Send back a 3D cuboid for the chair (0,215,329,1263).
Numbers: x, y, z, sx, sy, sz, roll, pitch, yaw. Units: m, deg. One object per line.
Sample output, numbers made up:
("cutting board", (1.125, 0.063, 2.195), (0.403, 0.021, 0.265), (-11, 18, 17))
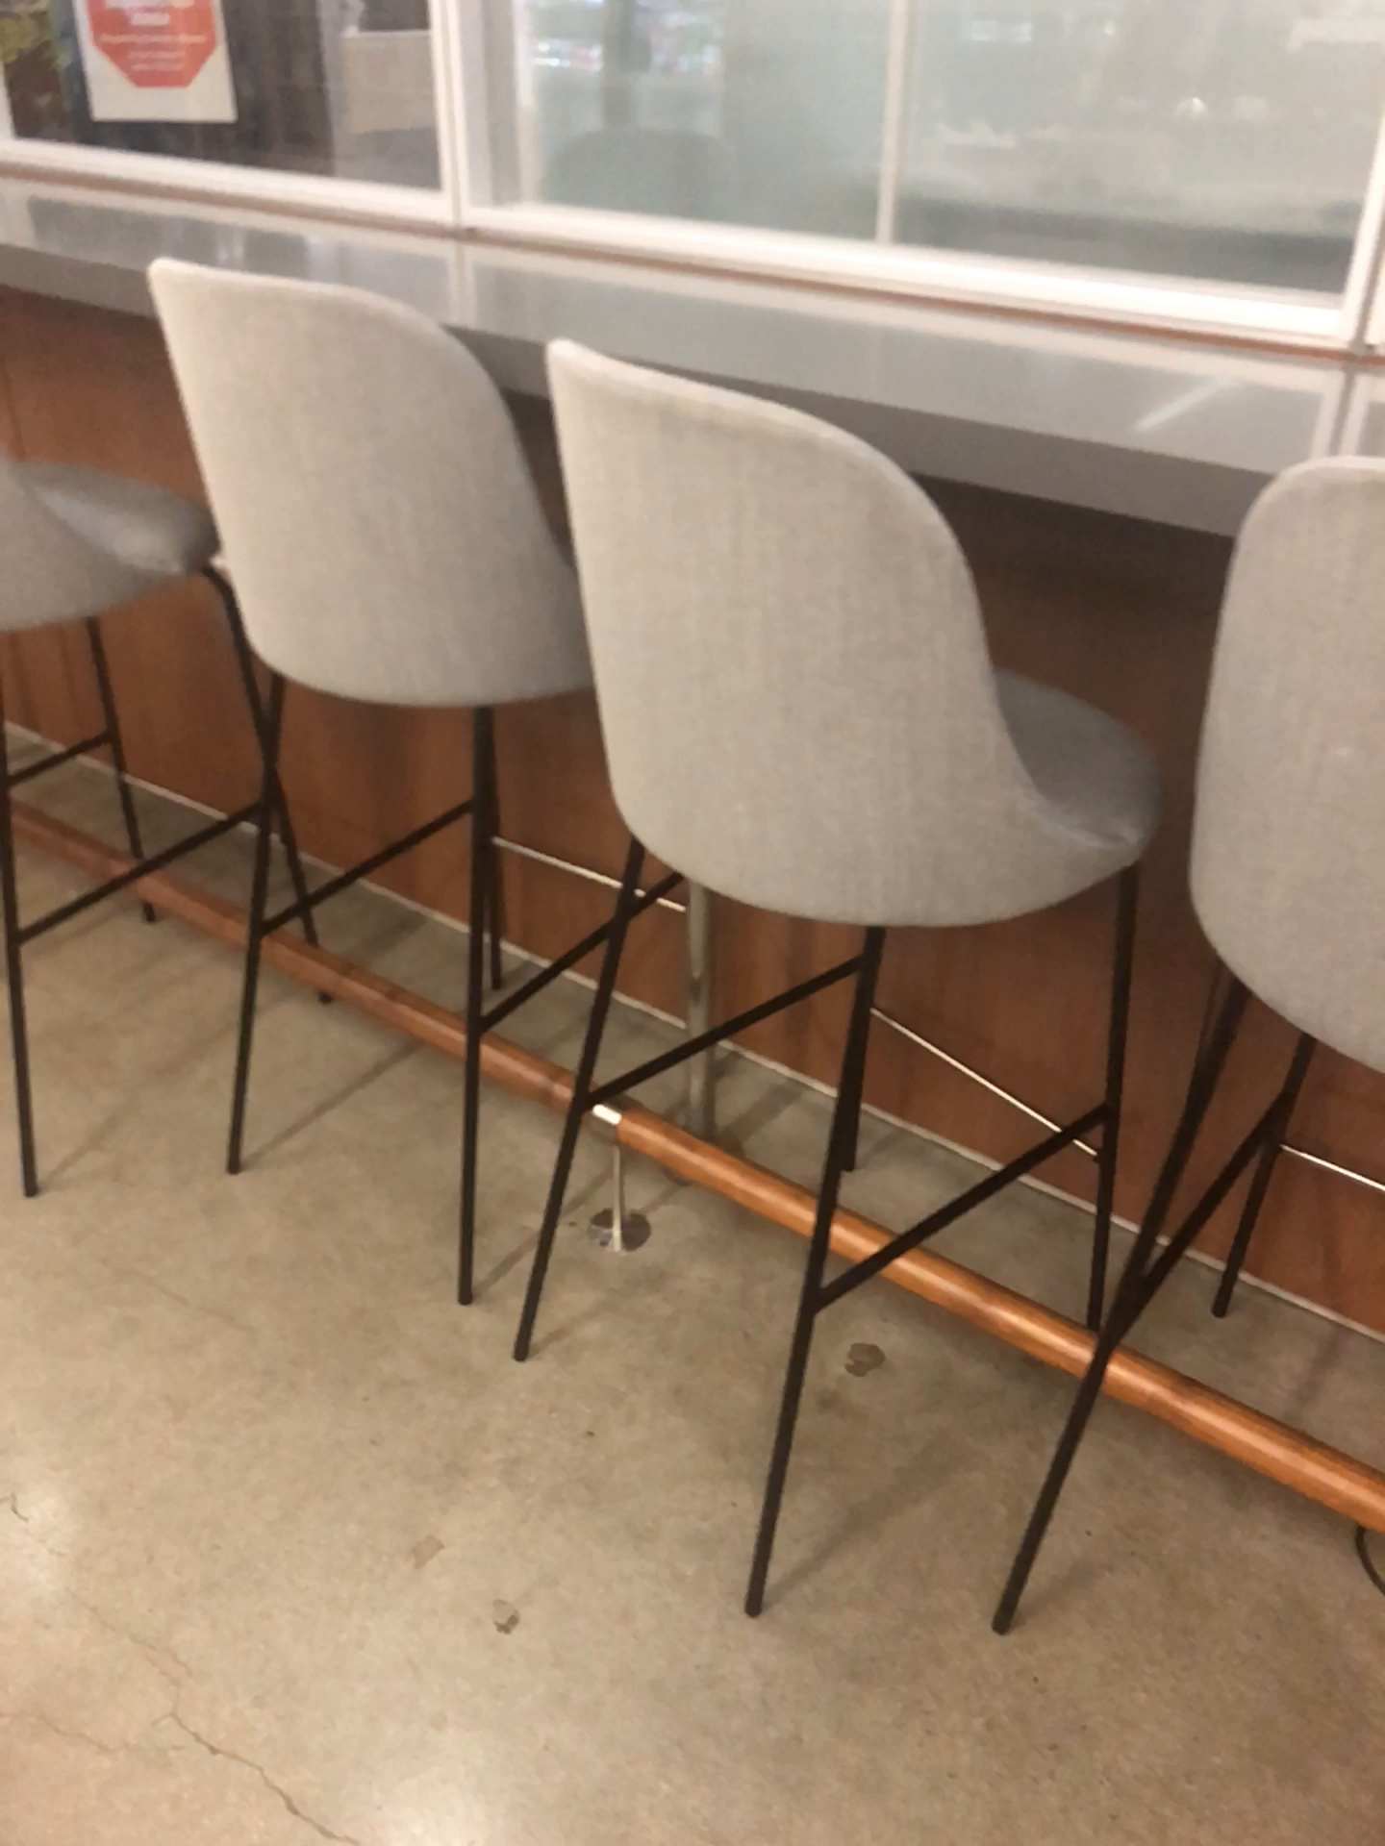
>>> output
("chair", (-1.176, -0.309, 2.565), (0.710, 1.488, 0.625), (19, 36, 28))
